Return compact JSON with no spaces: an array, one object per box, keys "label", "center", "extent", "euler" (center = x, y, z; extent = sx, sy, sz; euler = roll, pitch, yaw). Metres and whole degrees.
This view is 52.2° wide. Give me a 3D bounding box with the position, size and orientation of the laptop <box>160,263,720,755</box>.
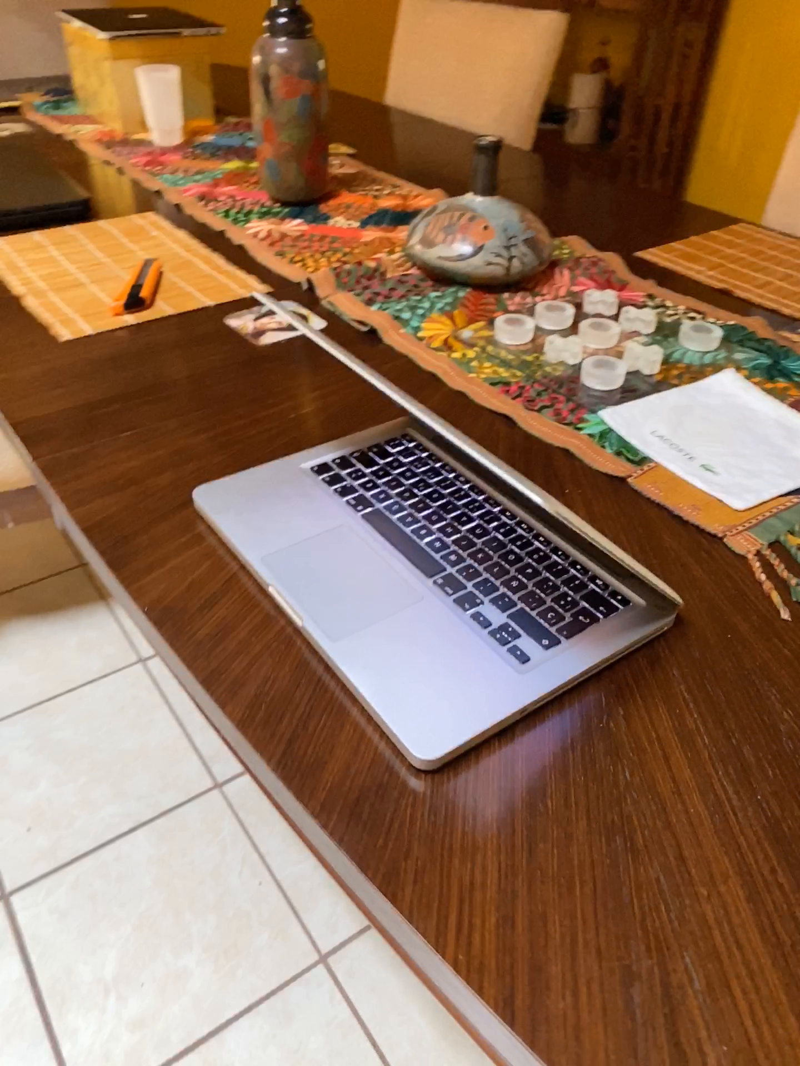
[{"label":"laptop","center":[0.007,-0.048,0.585],"extent":[0.213,0.152,0.322],"euler":[-24,45,-29]}]
